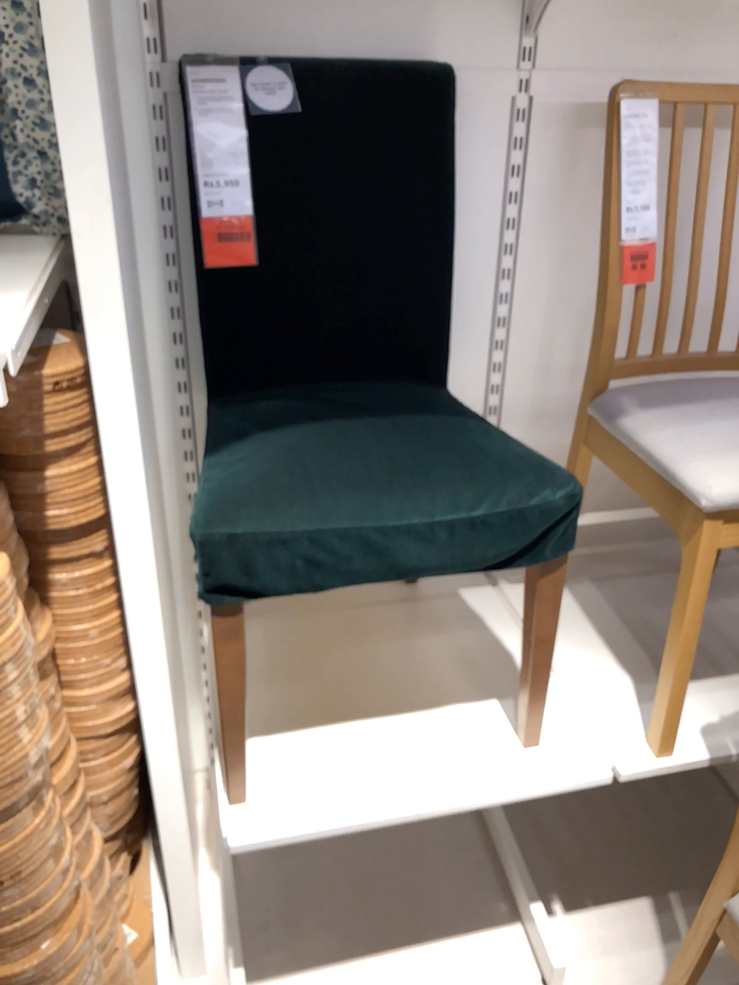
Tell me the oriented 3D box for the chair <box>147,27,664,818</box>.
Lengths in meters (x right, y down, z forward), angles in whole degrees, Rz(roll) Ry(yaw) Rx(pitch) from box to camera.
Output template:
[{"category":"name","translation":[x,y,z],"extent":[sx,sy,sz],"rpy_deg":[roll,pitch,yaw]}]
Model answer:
[{"category":"chair","translation":[-0.017,-0.116,1.162],"extent":[0.470,0.914,0.513],"rpy_deg":[-6,28,-14]}]
